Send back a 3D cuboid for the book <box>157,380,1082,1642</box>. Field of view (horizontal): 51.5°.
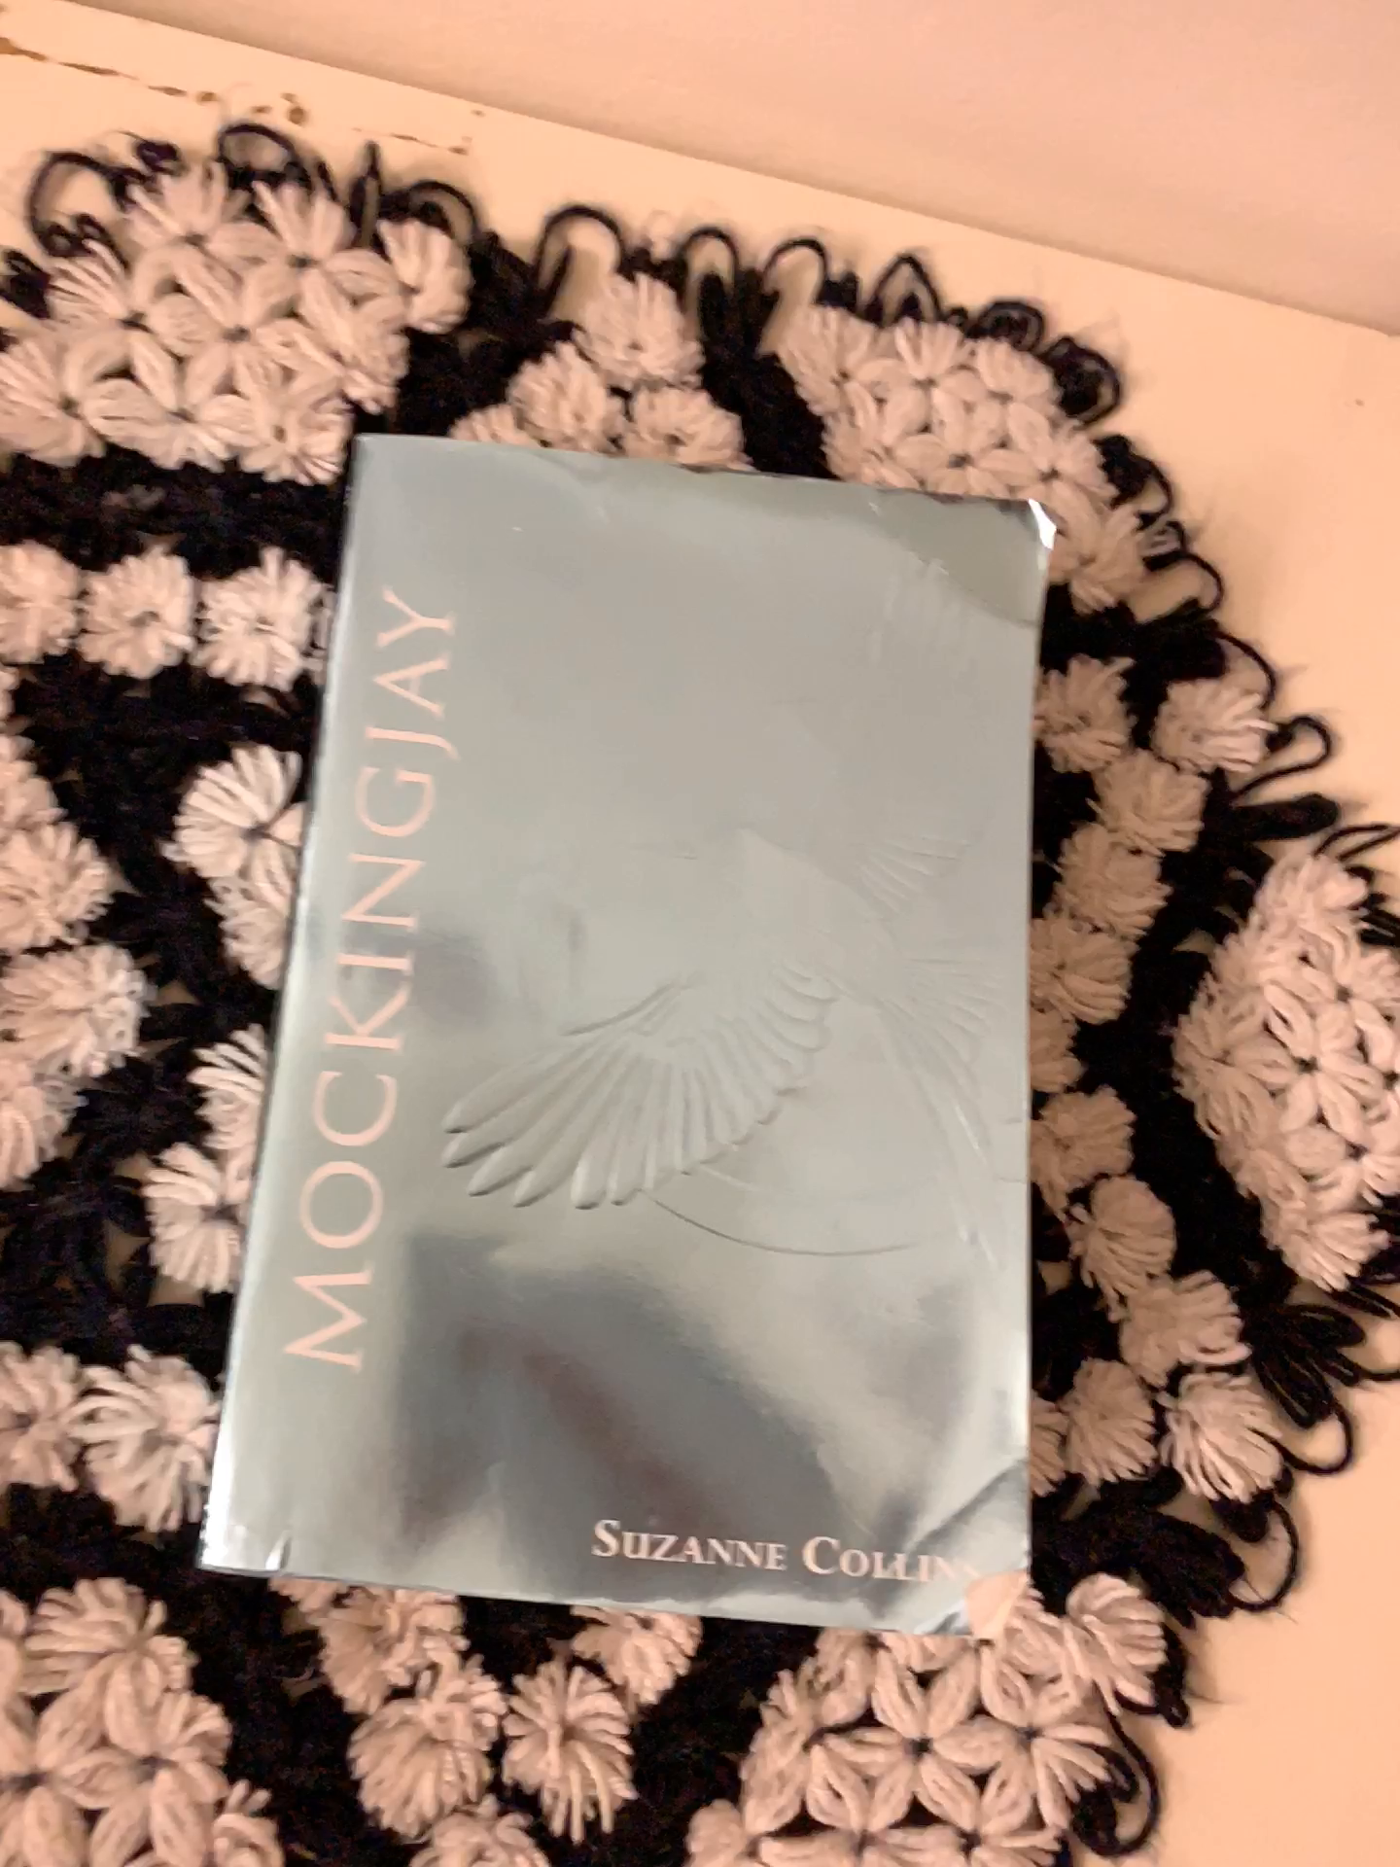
[{"bbox_3d":[-0.006,0.013,0.252,0.136,0.036,0.193,7,77,-11],"label":"book"}]
